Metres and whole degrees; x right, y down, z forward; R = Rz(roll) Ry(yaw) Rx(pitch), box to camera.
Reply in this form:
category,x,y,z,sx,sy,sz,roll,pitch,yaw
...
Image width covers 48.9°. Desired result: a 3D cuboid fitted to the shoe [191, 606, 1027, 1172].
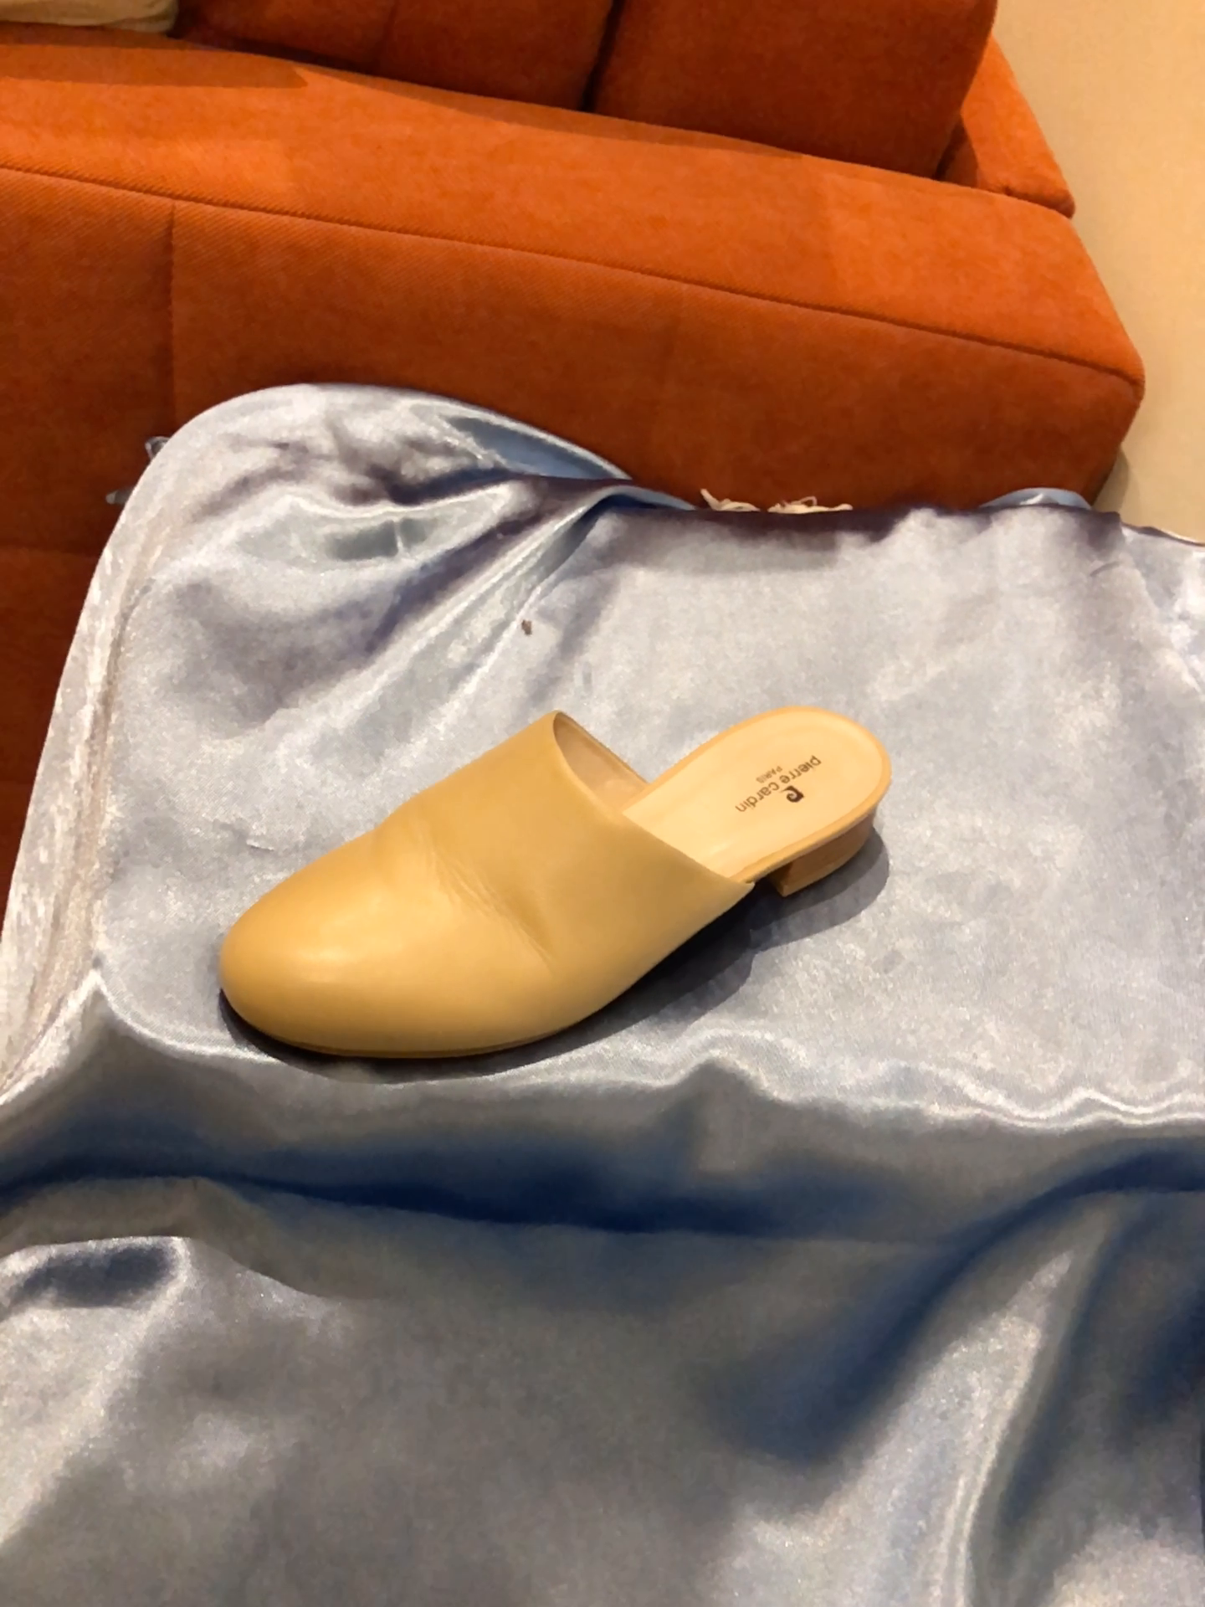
category,x,y,z,sx,sy,sz,roll,pitch,yaw
shoe,0.008,0.016,0.446,0.261,0.060,0.096,-19,59,-27
